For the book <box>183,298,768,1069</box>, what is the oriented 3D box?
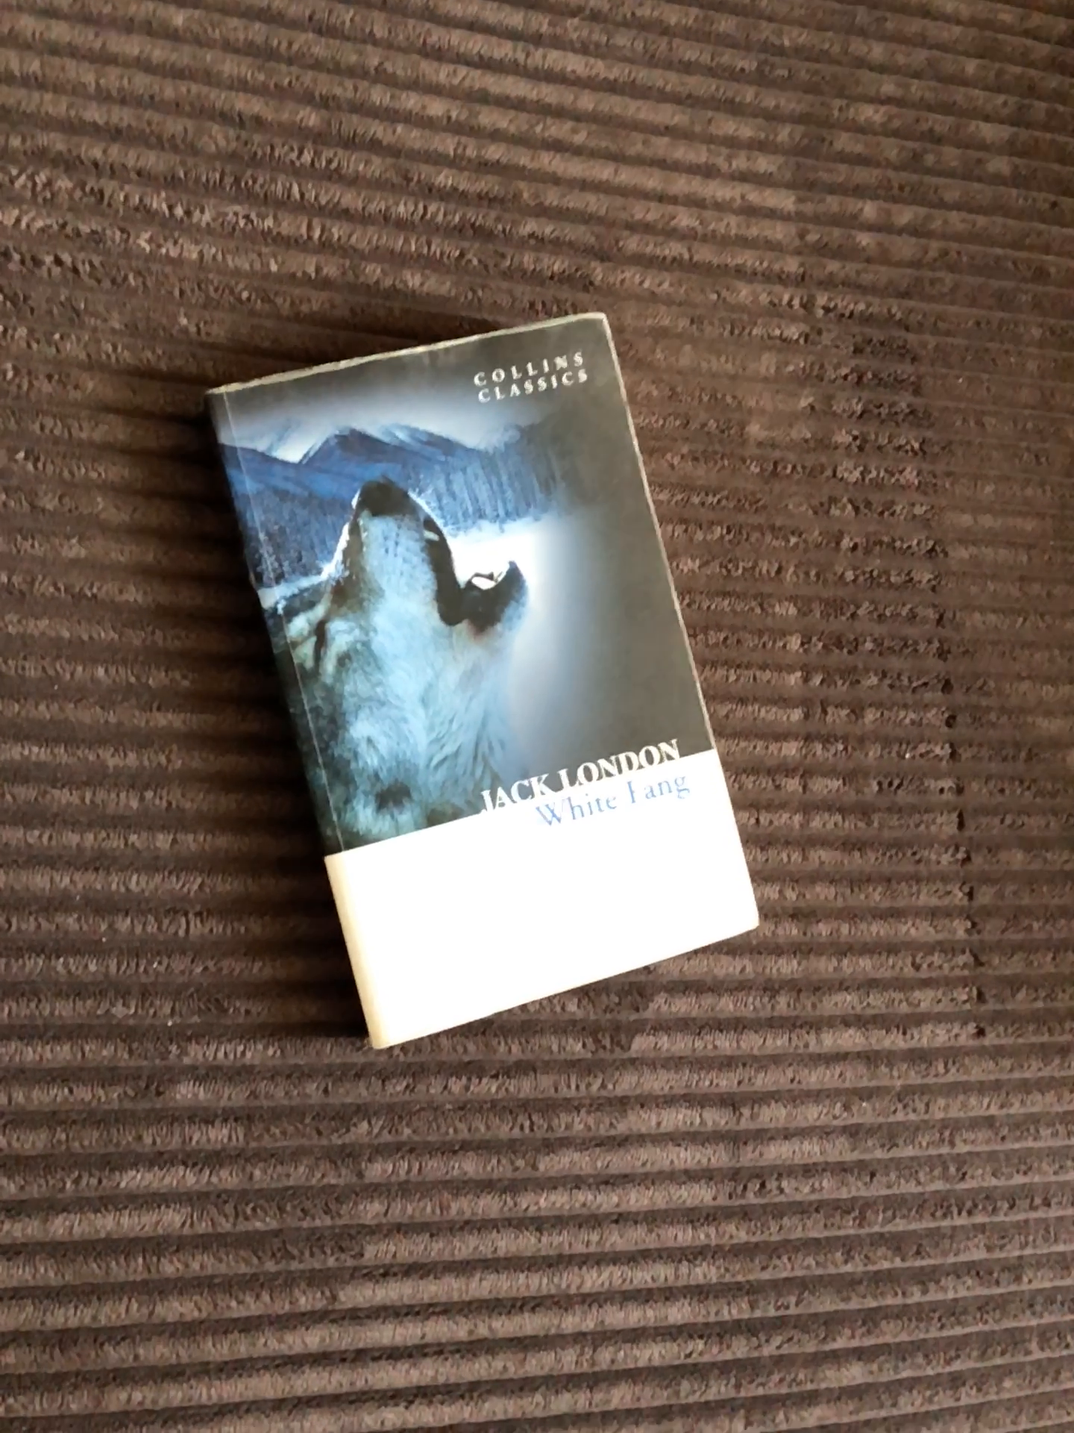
[{"bbox_3d":[-0.015,-0.010,0.321,0.114,0.030,0.178,-13,92,-8],"label":"book"}]
